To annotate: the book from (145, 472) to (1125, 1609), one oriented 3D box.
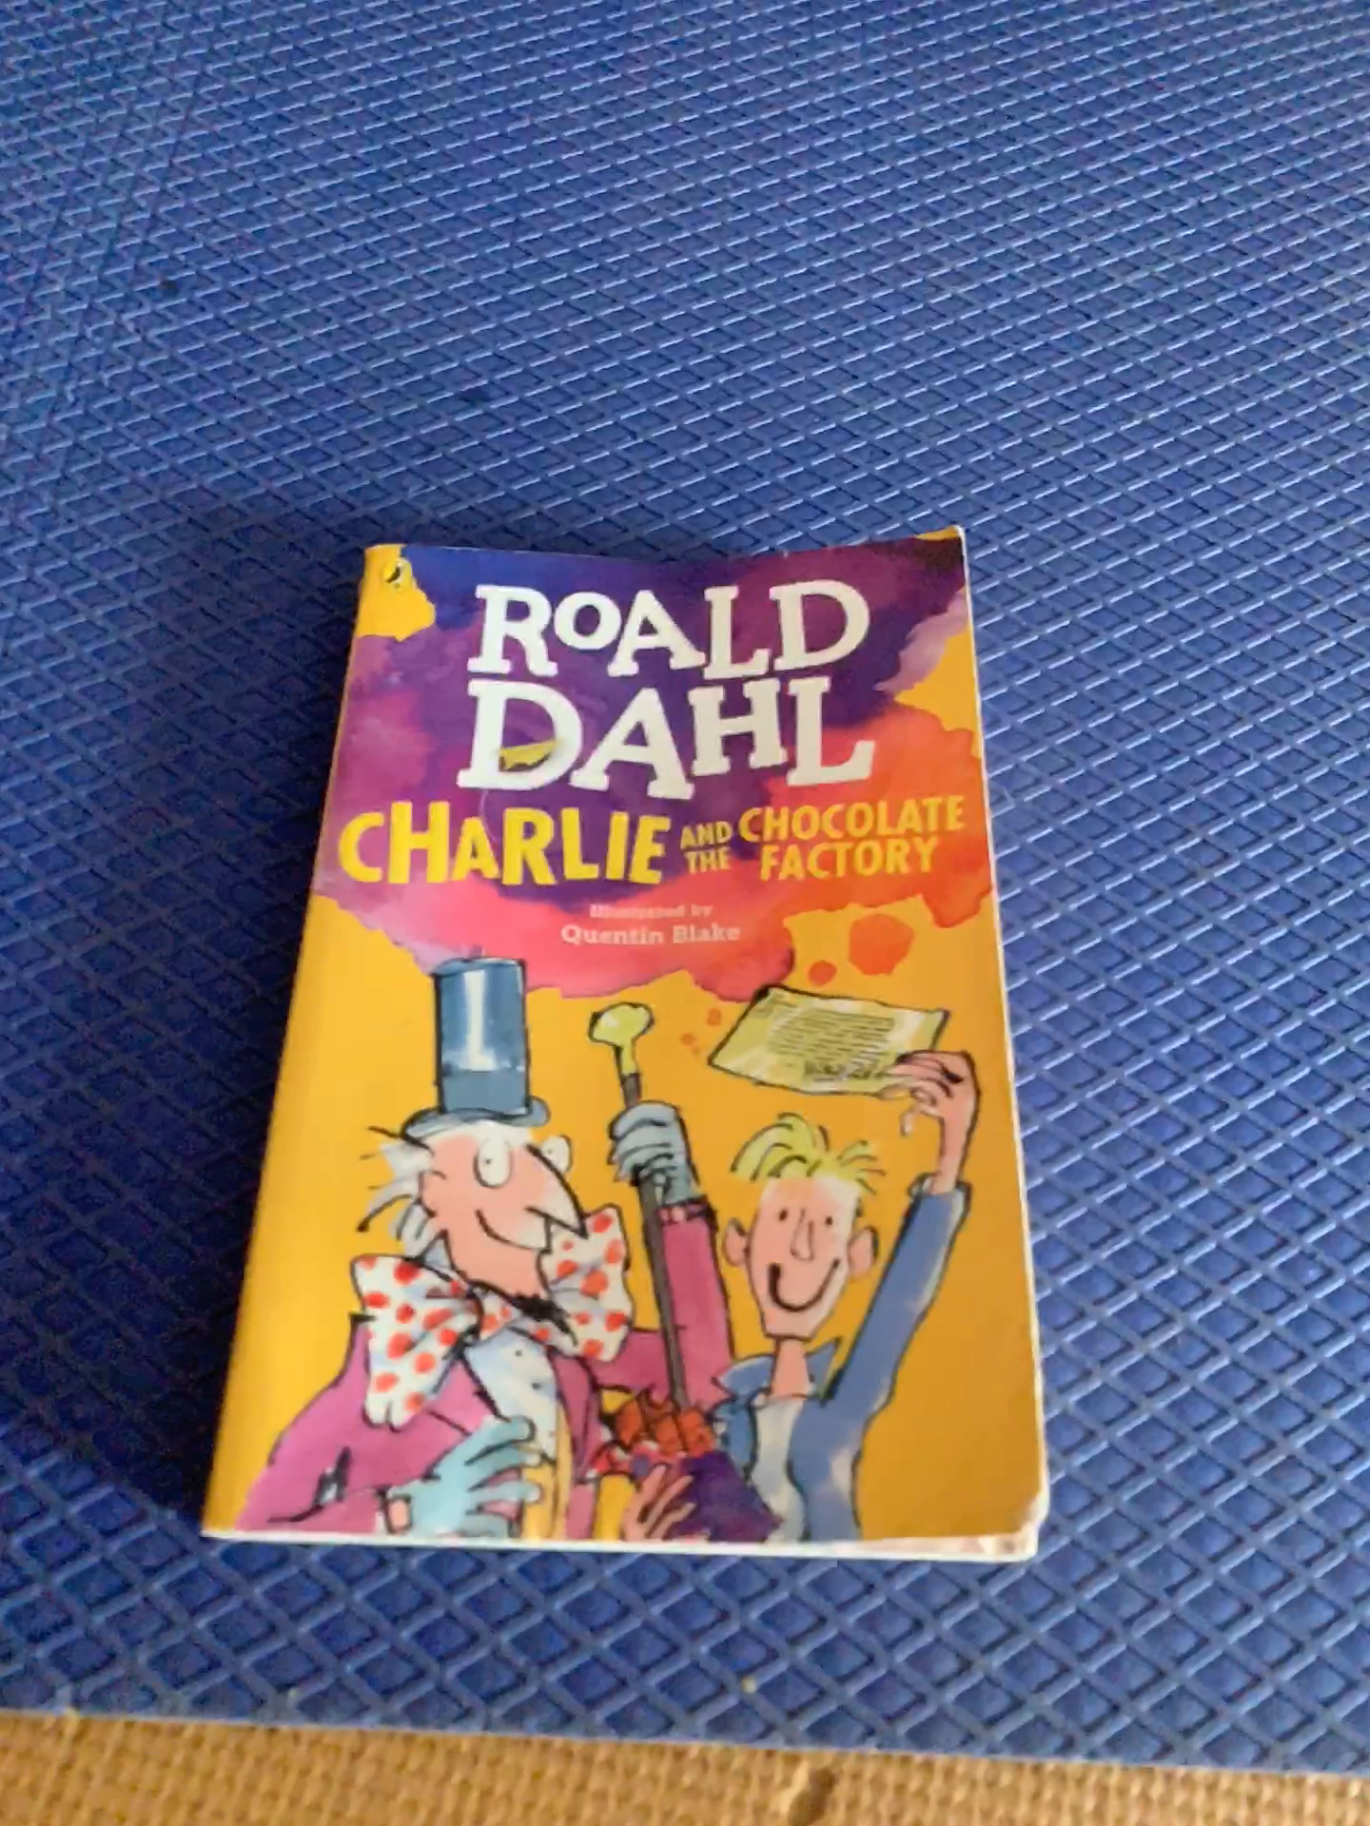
[{"bbox_3d":[-0.004,0.008,0.260,0.140,0.020,0.211,3,62,-3],"label":"book"}]
